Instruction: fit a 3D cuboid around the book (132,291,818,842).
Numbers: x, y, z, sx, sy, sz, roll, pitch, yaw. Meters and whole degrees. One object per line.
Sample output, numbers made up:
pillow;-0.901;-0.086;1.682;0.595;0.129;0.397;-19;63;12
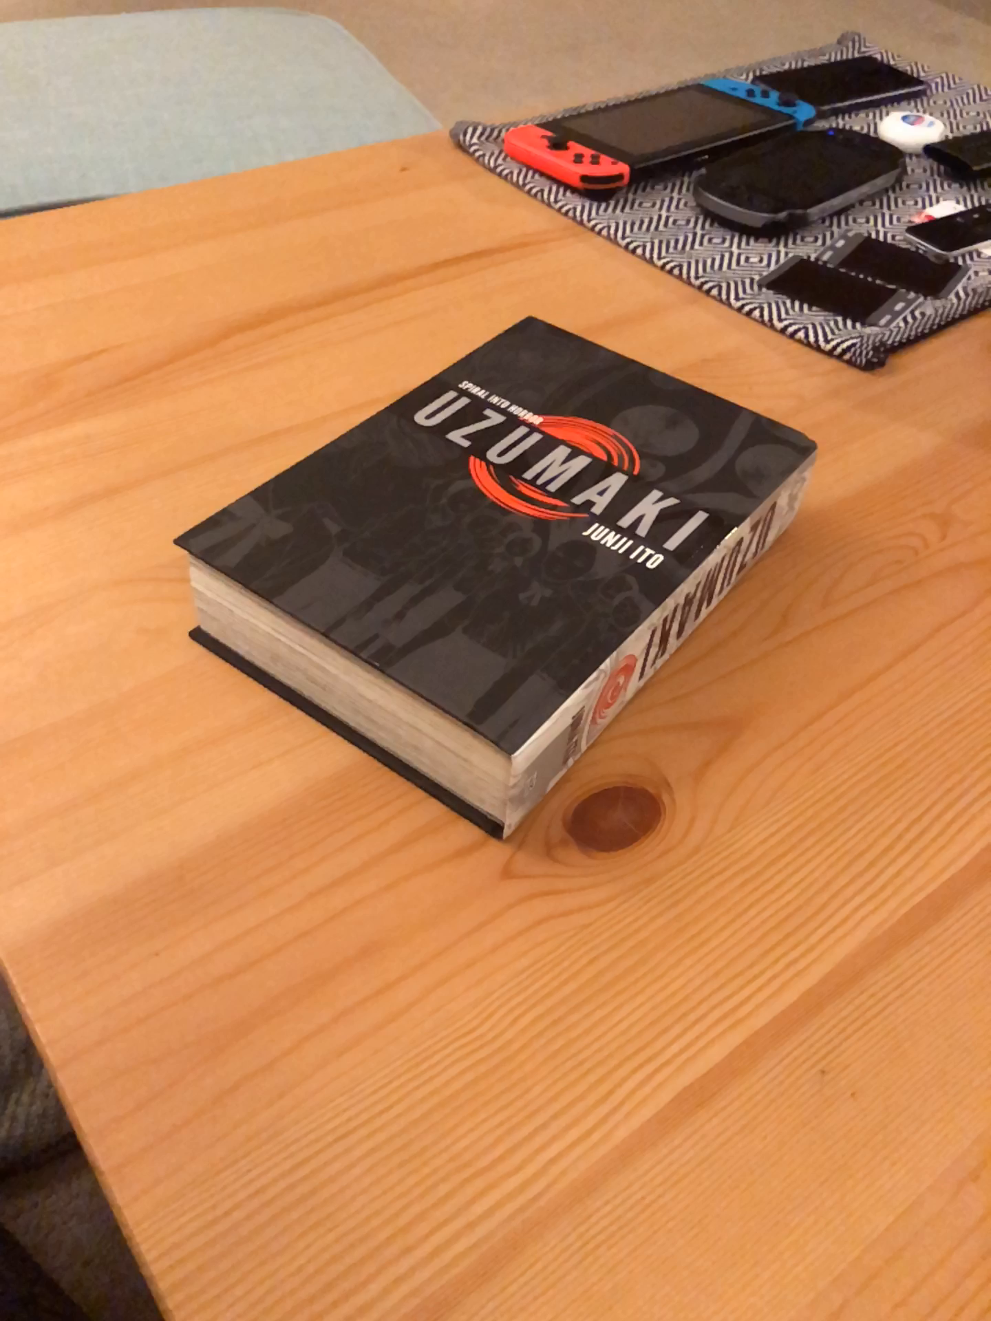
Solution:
book;0.000;-0.053;0.414;0.157;0.048;0.205;31;52;22
